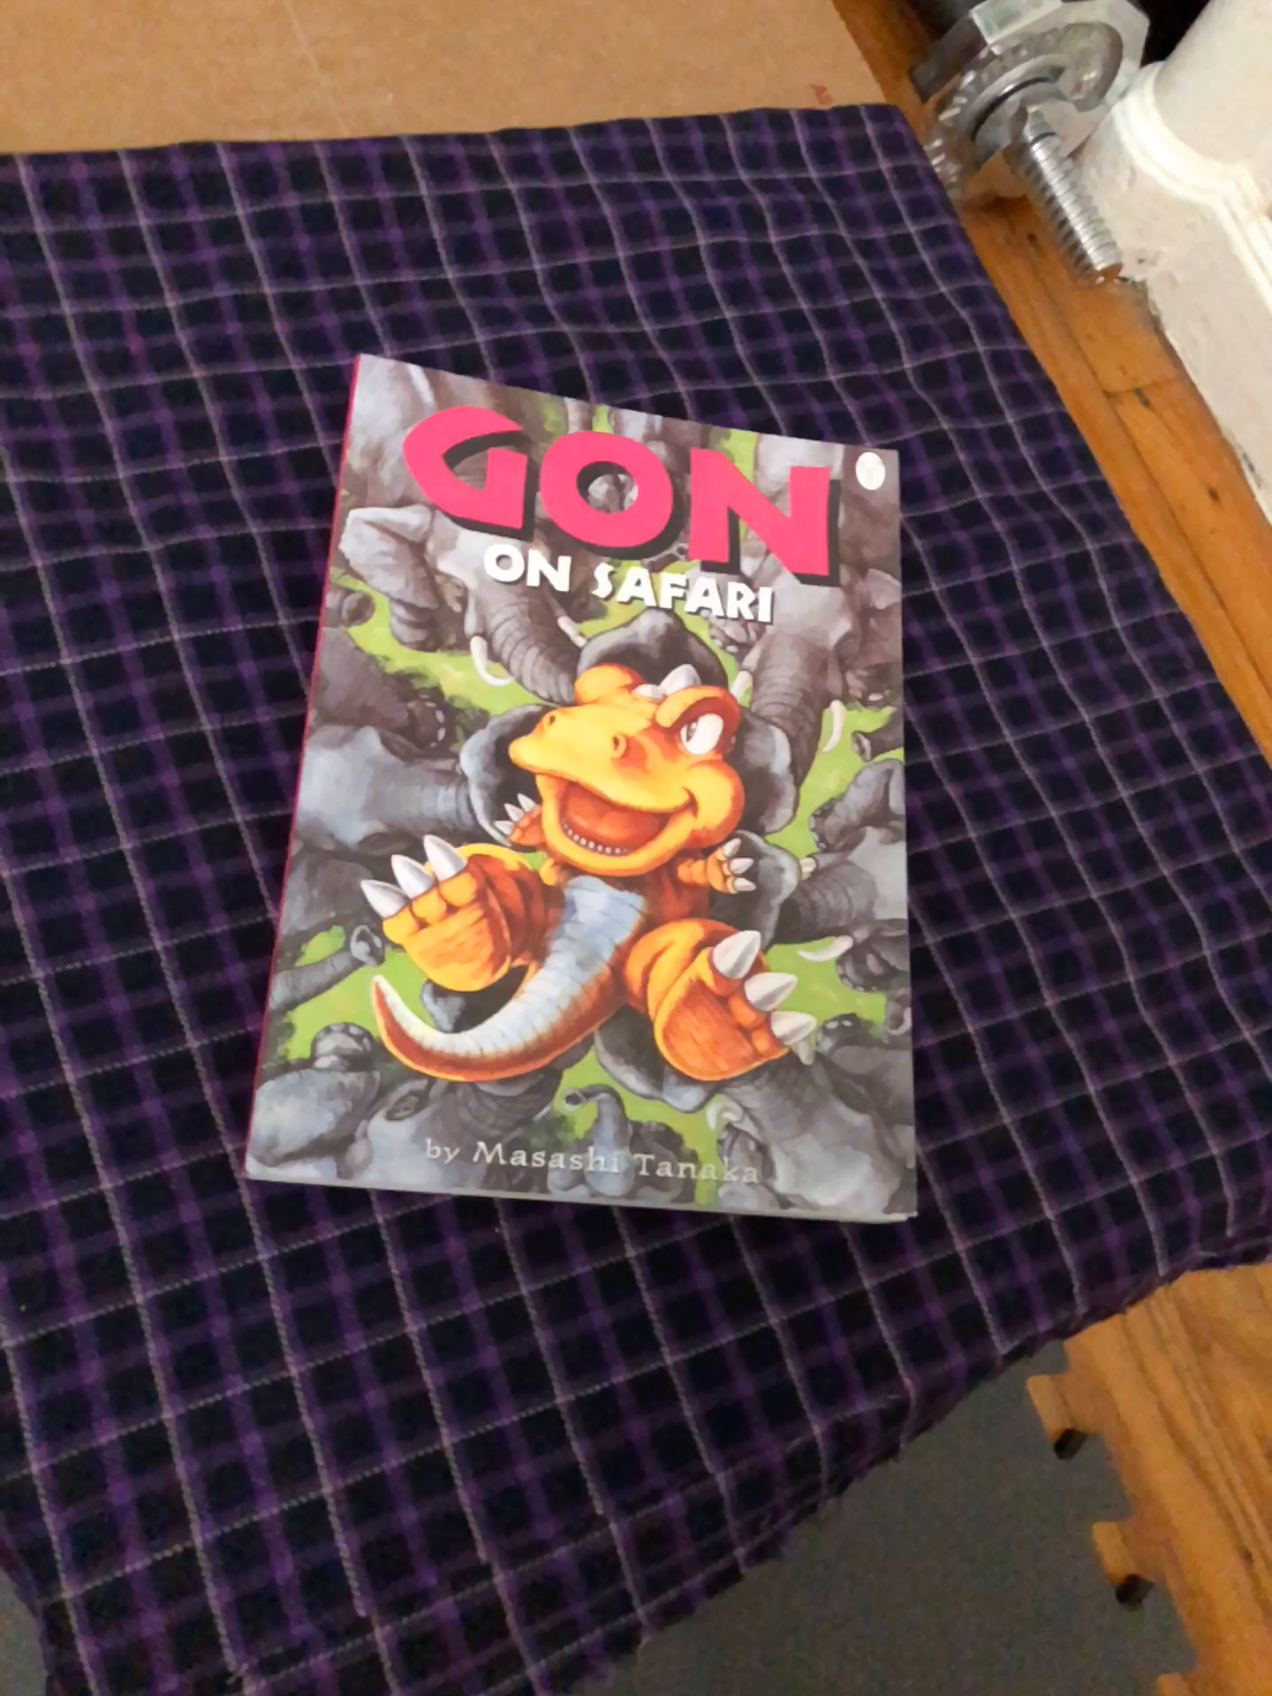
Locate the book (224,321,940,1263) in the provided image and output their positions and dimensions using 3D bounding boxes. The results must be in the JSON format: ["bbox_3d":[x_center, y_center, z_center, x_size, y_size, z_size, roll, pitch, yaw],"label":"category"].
[{"bbox_3d":[-0.004,-0.017,0.332,0.150,0.020,0.210,8,69,-13],"label":"book"}]
